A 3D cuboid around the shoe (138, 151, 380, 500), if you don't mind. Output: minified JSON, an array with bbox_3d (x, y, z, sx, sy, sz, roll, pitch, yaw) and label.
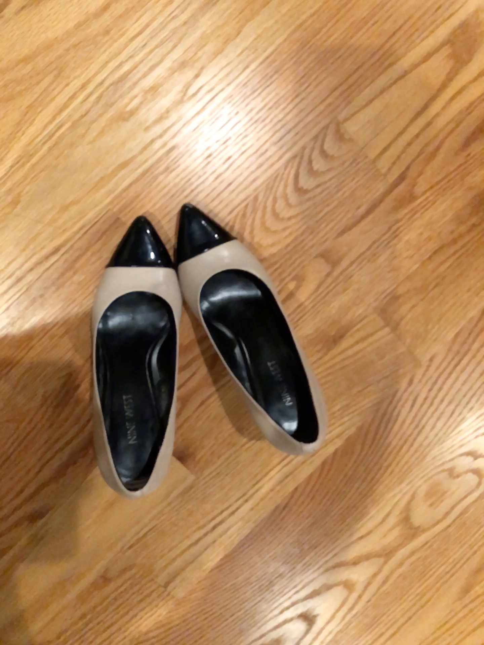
[{"bbox_3d":[0.007,-0.002,0.445,0.085,0.139,0.235,-26,102,-5],"label":"shoe"}]

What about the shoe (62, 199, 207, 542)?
[{"bbox_3d":[-0.086,0.029,0.435,0.085,0.139,0.235,3,98,-10],"label":"shoe"}]
